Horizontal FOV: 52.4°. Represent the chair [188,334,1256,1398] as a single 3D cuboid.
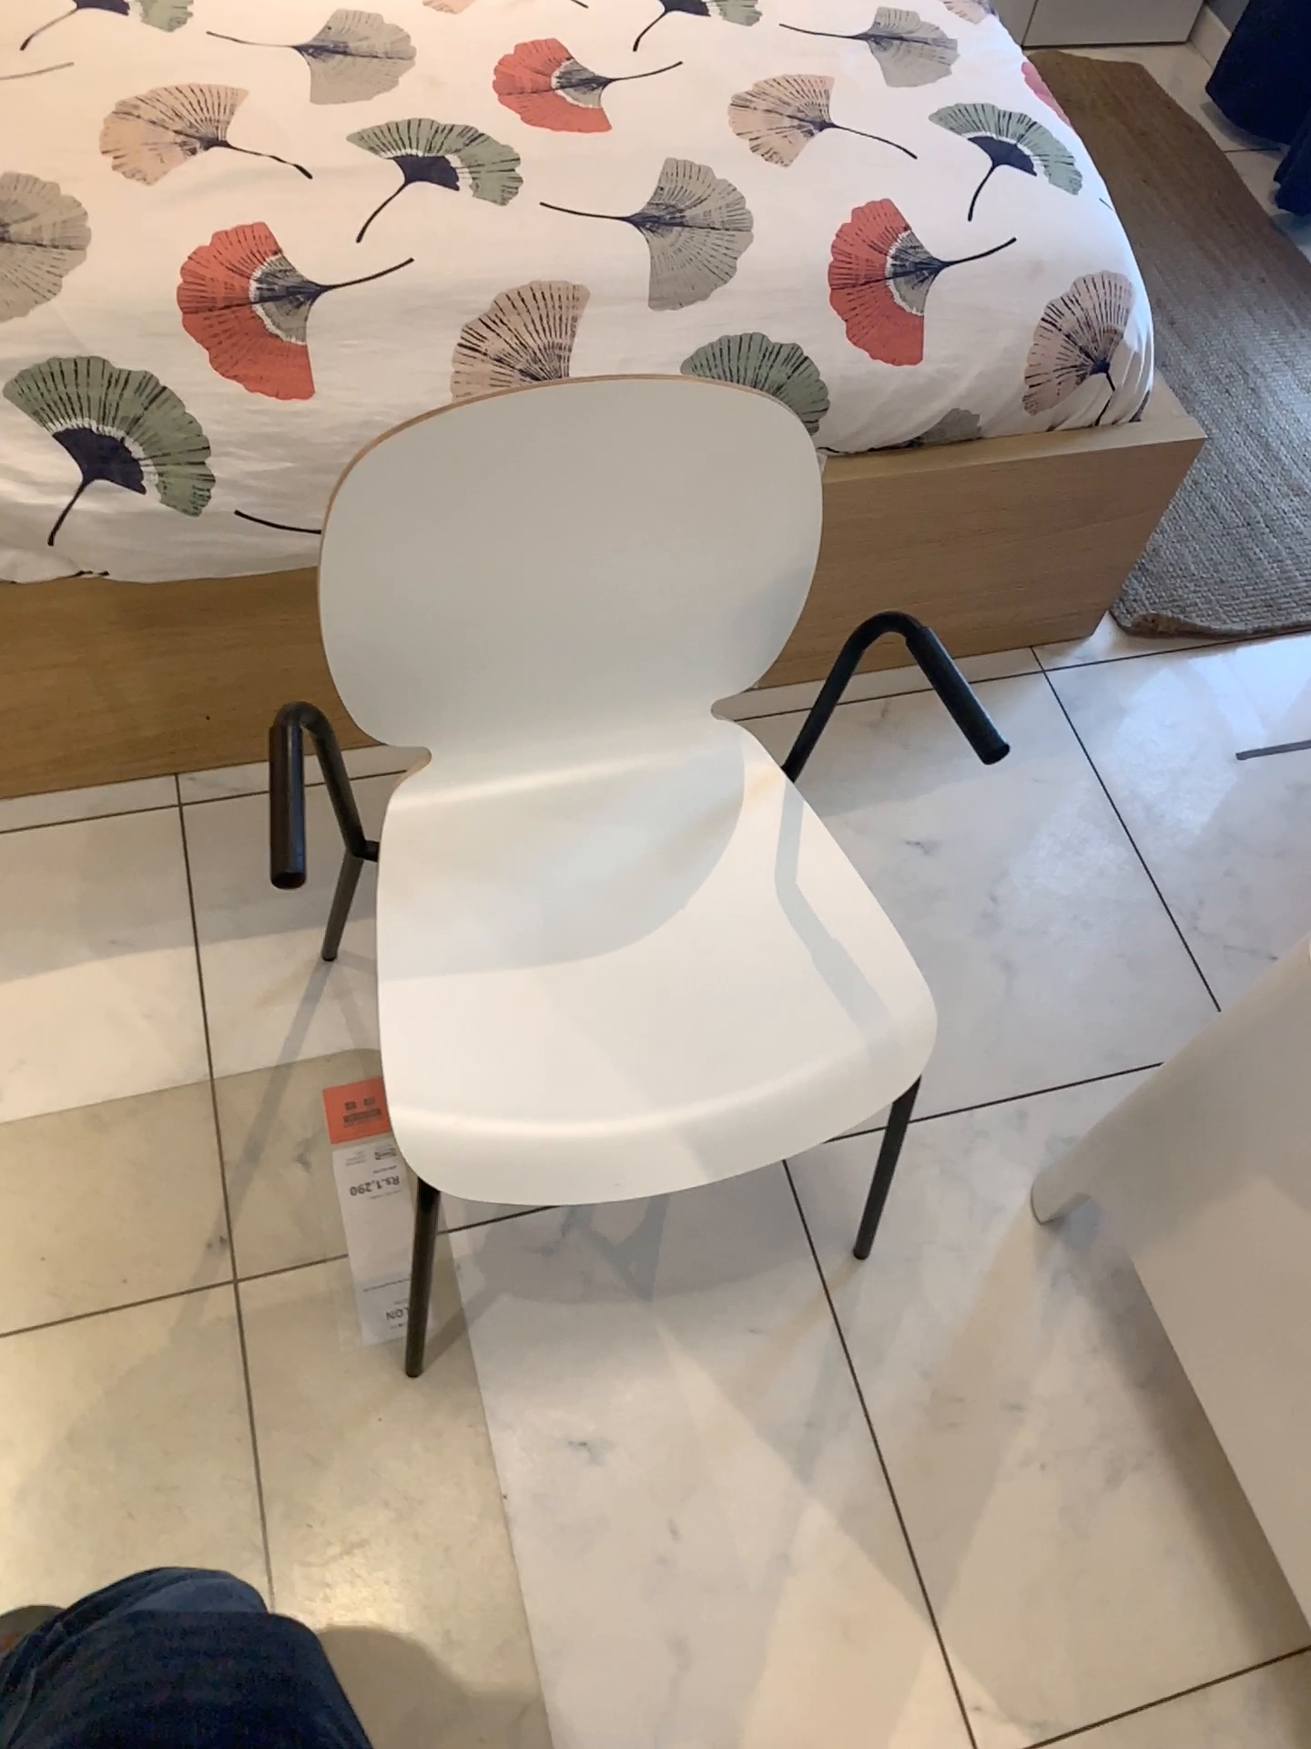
[{"bbox_3d":[-0.022,0.035,1.143,0.550,0.699,0.541,-10,61,-13],"label":"chair"}]
